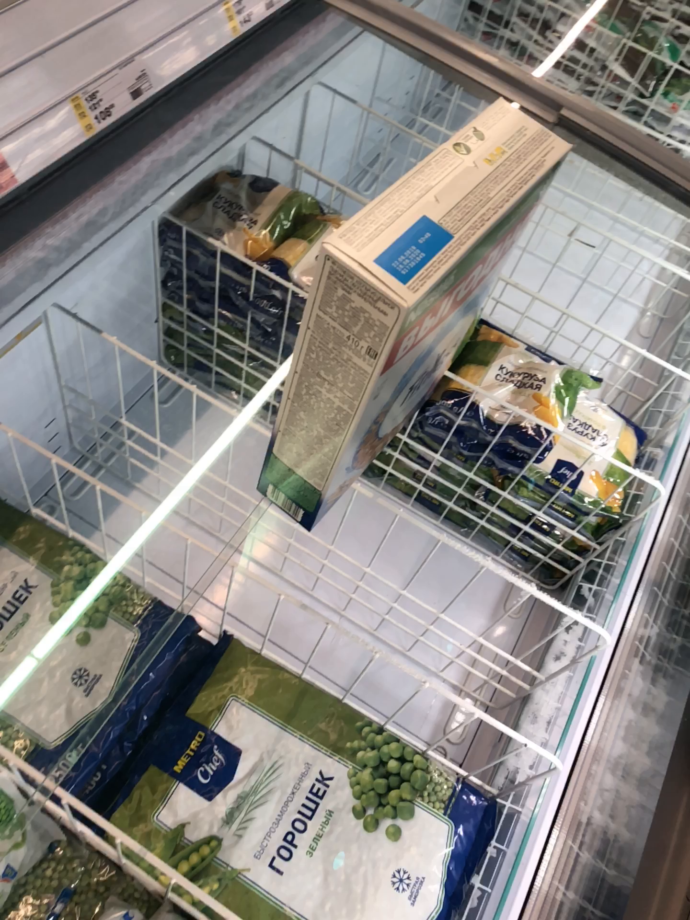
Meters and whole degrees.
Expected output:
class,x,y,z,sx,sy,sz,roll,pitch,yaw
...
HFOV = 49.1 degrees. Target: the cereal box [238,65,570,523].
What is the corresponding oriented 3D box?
class,x,y,z,sx,sy,sz,roll,pitch,yaw
cereal box,0.027,-0.098,0.527,0.060,0.269,0.201,37,59,9
